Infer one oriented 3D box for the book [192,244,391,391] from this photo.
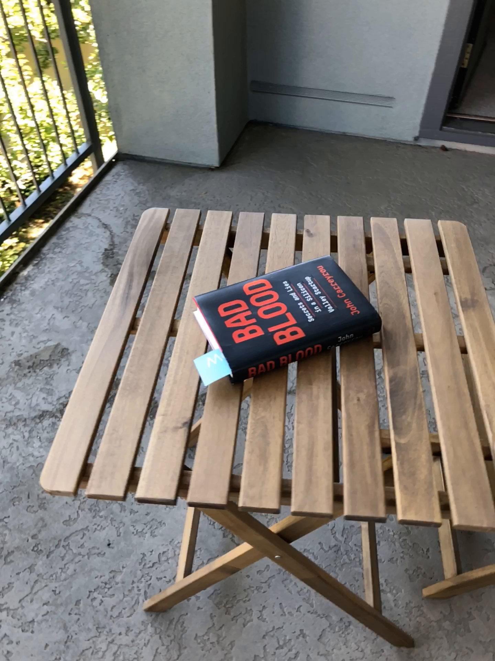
[{"bbox_3d":[0.062,-0.029,0.840,0.240,0.050,0.181,-19,50,-17],"label":"book"}]
